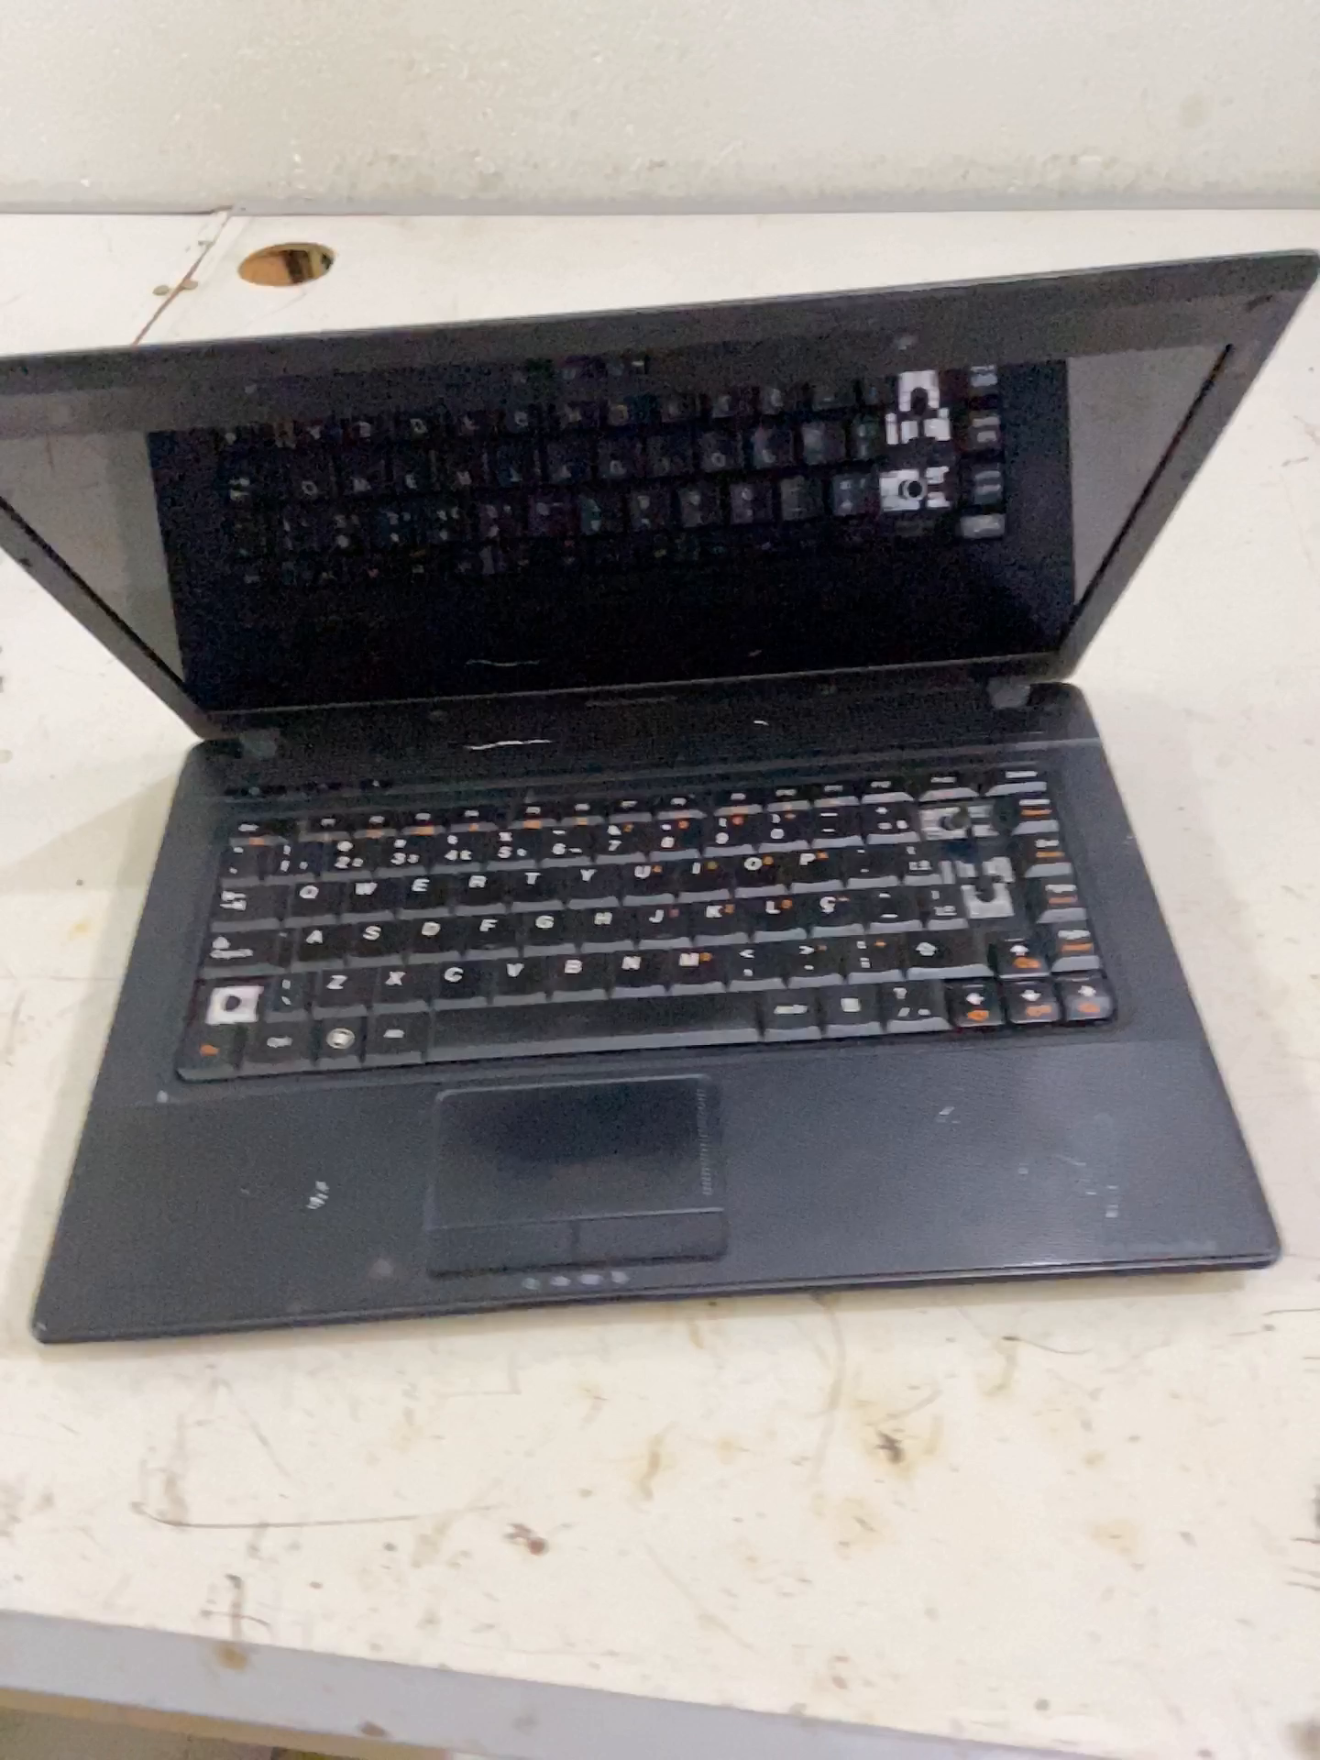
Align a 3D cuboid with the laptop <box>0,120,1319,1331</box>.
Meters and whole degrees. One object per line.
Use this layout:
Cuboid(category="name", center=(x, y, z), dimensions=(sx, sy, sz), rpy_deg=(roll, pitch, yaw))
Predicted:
Cuboid(category="laptop", center=(-0.008, -0.040, 0.362), dimensions=(0.333, 0.194, 0.224), rpy_deg=(-4, 49, 1))
